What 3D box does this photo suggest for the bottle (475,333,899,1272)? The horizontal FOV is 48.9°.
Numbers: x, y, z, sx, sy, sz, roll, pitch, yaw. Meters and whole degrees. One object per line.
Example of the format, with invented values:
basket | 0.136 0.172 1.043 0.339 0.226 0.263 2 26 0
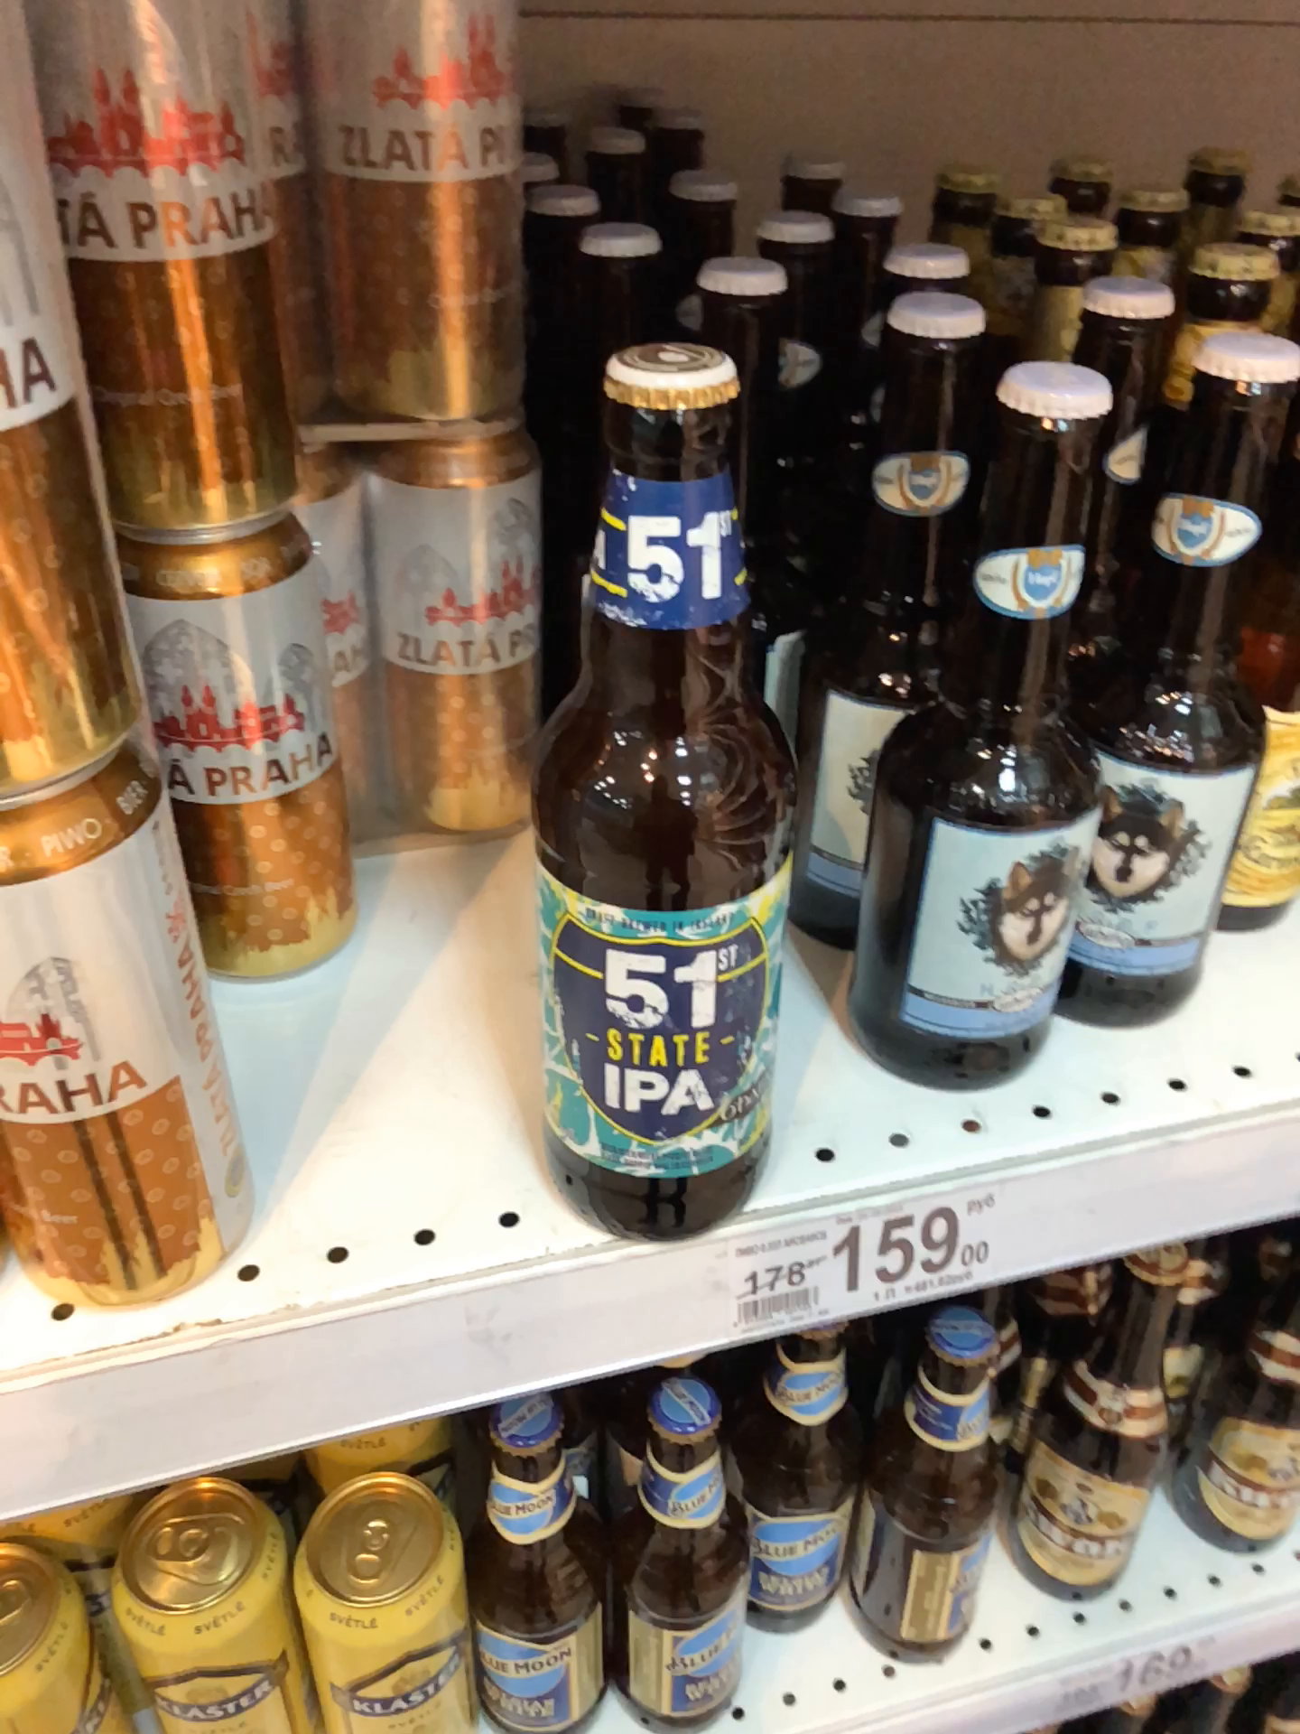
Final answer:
bottle | 0.001 -0.005 0.371 0.080 0.238 0.070 -3 35 -7
